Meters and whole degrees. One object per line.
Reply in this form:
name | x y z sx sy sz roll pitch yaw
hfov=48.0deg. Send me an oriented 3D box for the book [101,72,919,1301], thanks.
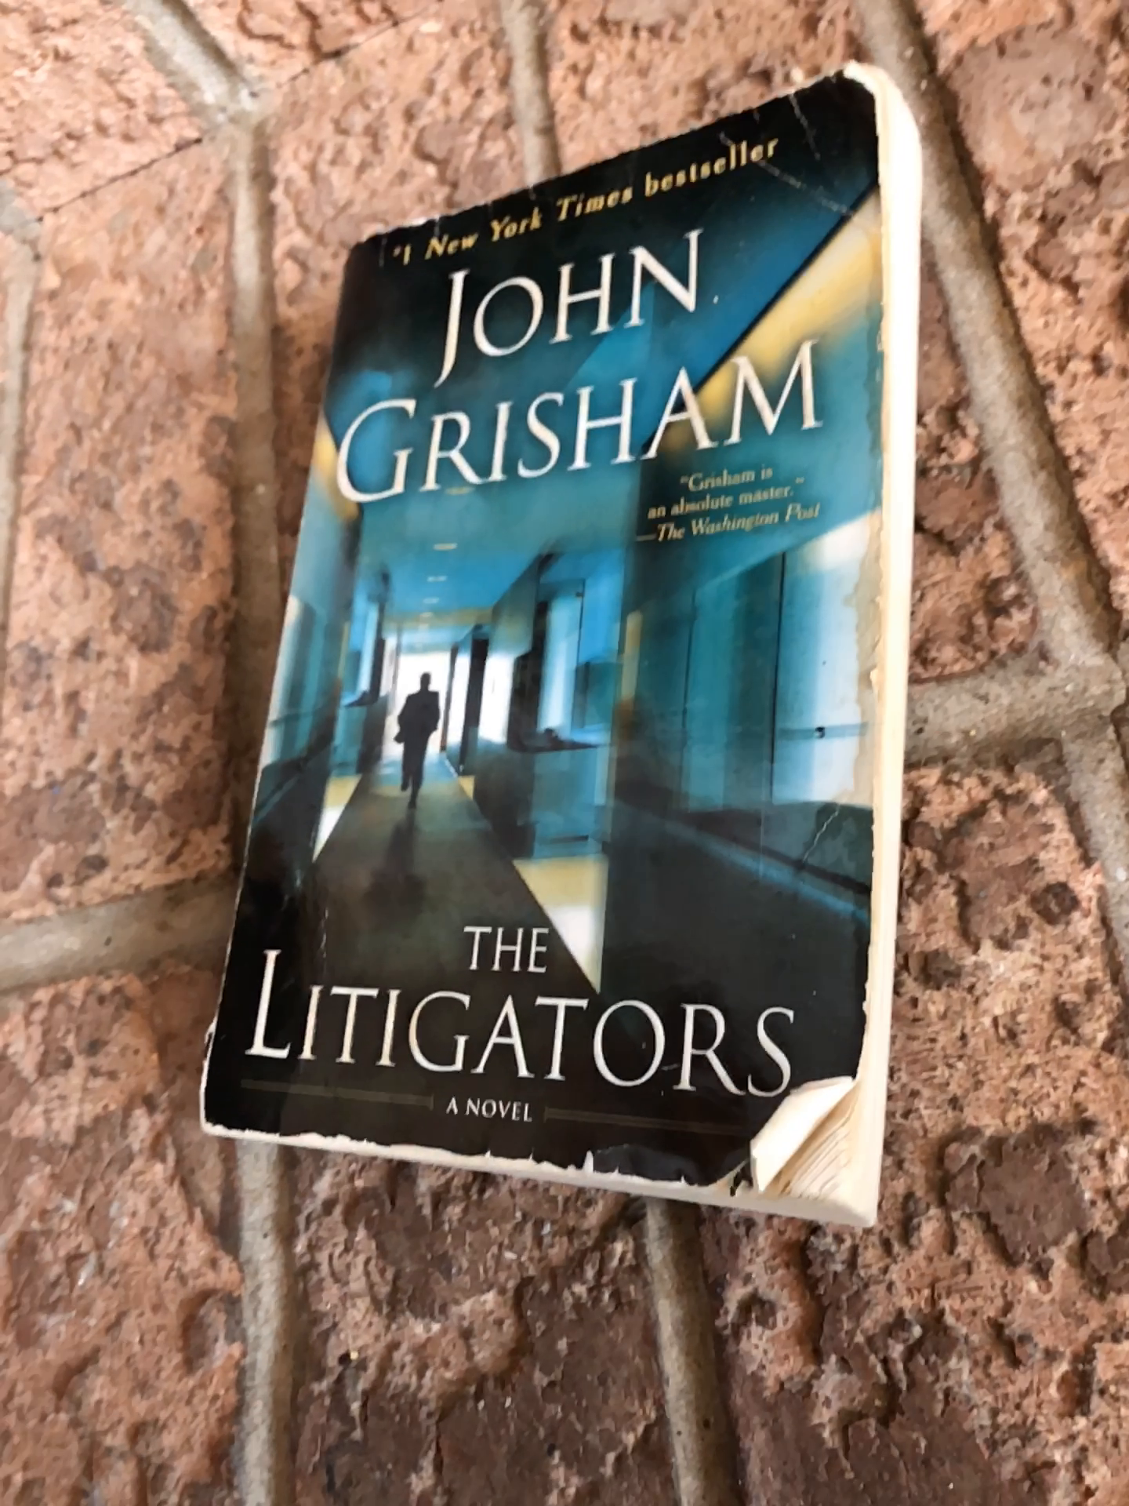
book | -0.009 -0.016 0.242 0.135 0.033 0.199 -2 73 30
